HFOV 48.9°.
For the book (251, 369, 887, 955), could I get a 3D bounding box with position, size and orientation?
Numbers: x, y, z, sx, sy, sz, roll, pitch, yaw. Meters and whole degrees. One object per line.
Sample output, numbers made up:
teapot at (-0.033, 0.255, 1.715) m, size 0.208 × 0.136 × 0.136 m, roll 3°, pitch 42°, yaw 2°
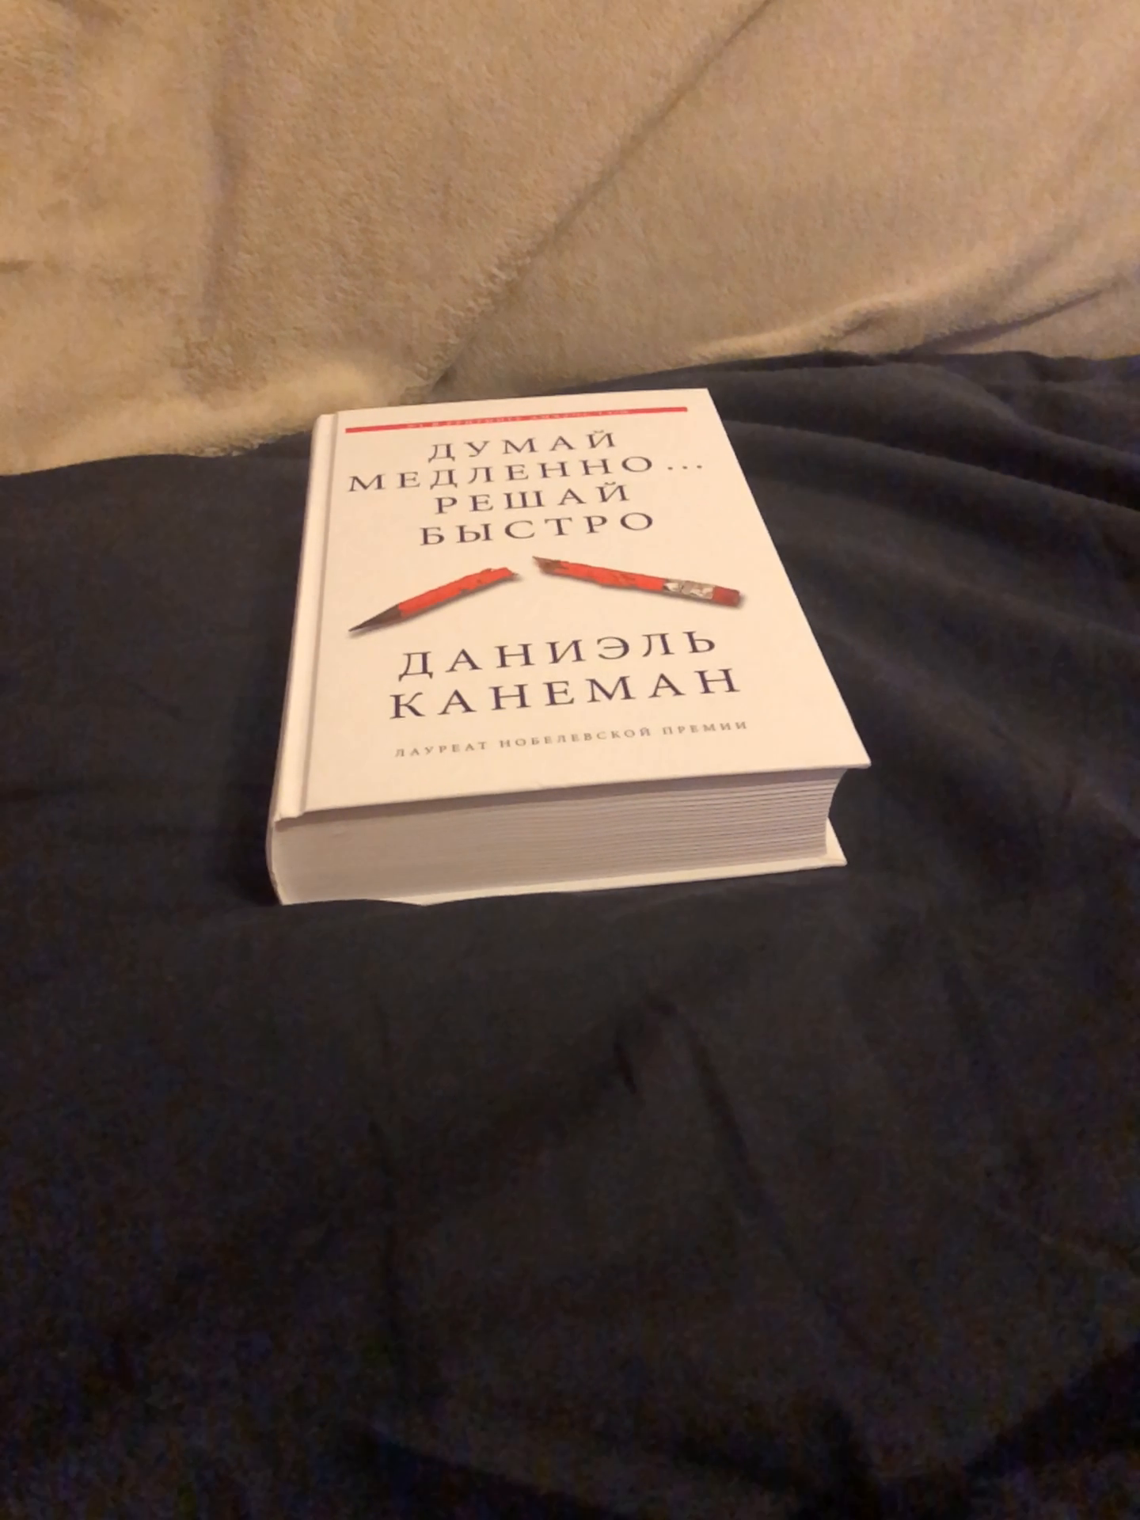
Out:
book at (-0.009, -0.047, 0.391) m, size 0.149 × 0.050 × 0.221 m, roll -5°, pitch 41°, yaw -3°
